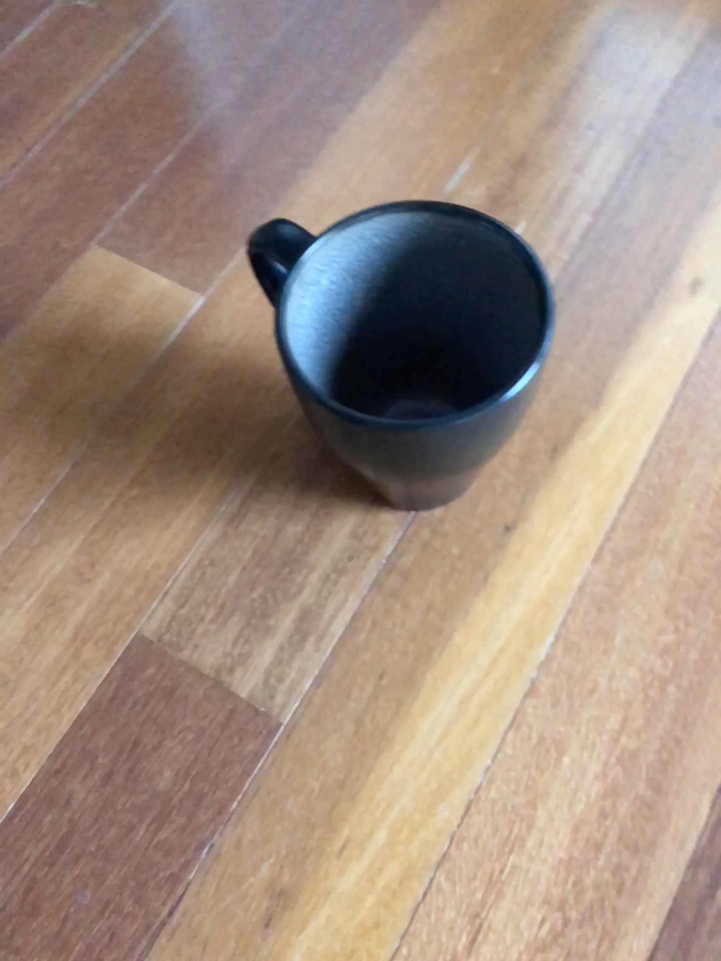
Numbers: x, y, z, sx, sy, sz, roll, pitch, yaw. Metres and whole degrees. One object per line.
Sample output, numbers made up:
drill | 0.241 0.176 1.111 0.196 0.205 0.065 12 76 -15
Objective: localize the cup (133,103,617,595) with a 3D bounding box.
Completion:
cup | 0.004 -0.048 0.307 0.090 0.100 0.137 -42 69 -14
